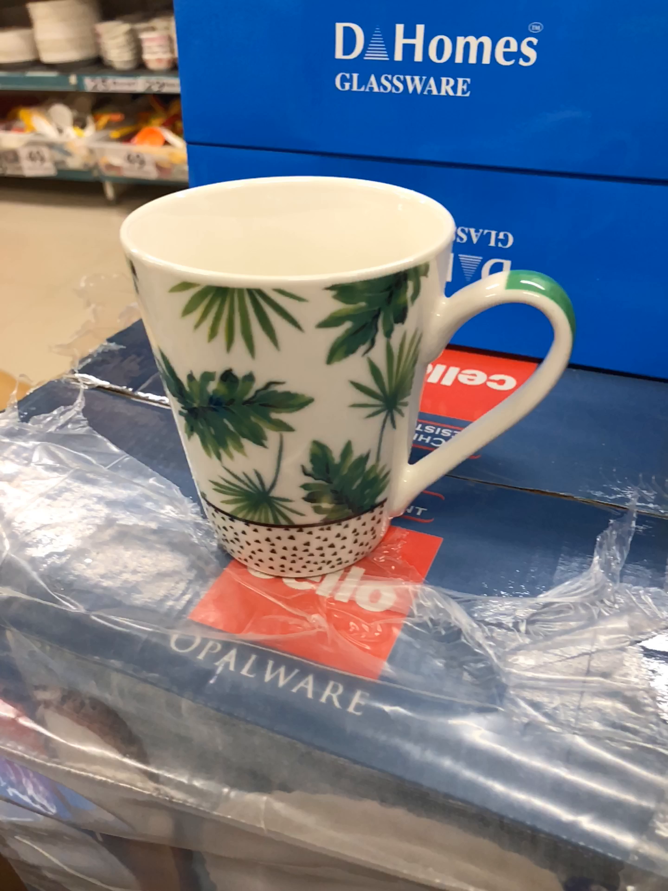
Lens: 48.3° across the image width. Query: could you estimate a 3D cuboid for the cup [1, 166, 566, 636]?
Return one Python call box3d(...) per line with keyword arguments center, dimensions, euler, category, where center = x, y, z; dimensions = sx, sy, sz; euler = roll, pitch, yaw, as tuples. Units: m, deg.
box3d(center=(-0.004, -0.017, 0.214), dimensions=(0.120, 0.099, 0.081), euler=(4, 36, 11), category="cup")
